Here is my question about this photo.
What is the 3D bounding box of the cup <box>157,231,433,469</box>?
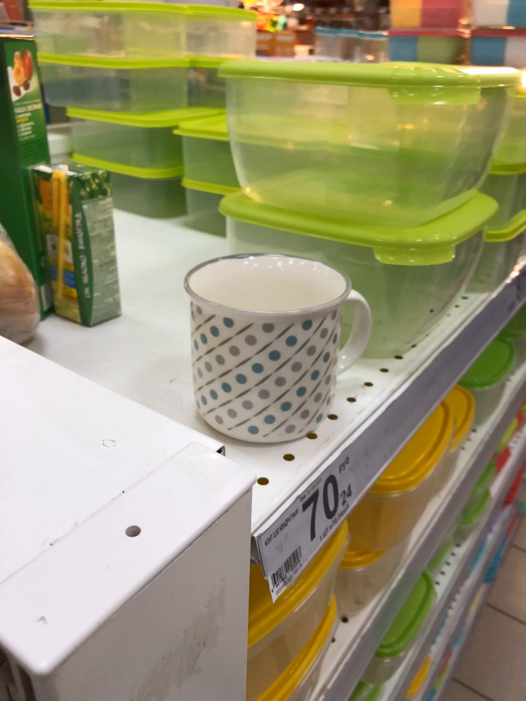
[{"bbox_3d":[0.018,-0.010,0.356,0.128,0.082,0.096,-19,34,-34],"label":"cup"}]
